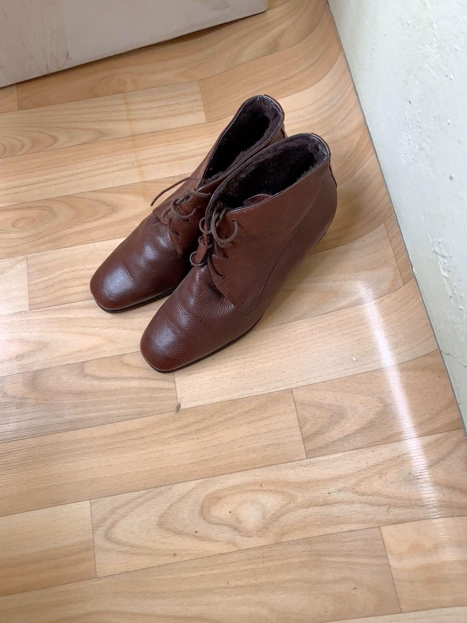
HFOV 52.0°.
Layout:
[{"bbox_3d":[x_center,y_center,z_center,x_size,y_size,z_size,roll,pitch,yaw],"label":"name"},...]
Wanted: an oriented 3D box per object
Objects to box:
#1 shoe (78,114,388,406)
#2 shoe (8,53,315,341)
[{"bbox_3d":[0.007,-0.030,0.411,0.220,0.150,0.080,-39,73,-8],"label":"shoe"},{"bbox_3d":[-0.047,-0.087,0.423,0.220,0.150,0.080,-35,72,-6],"label":"shoe"}]
